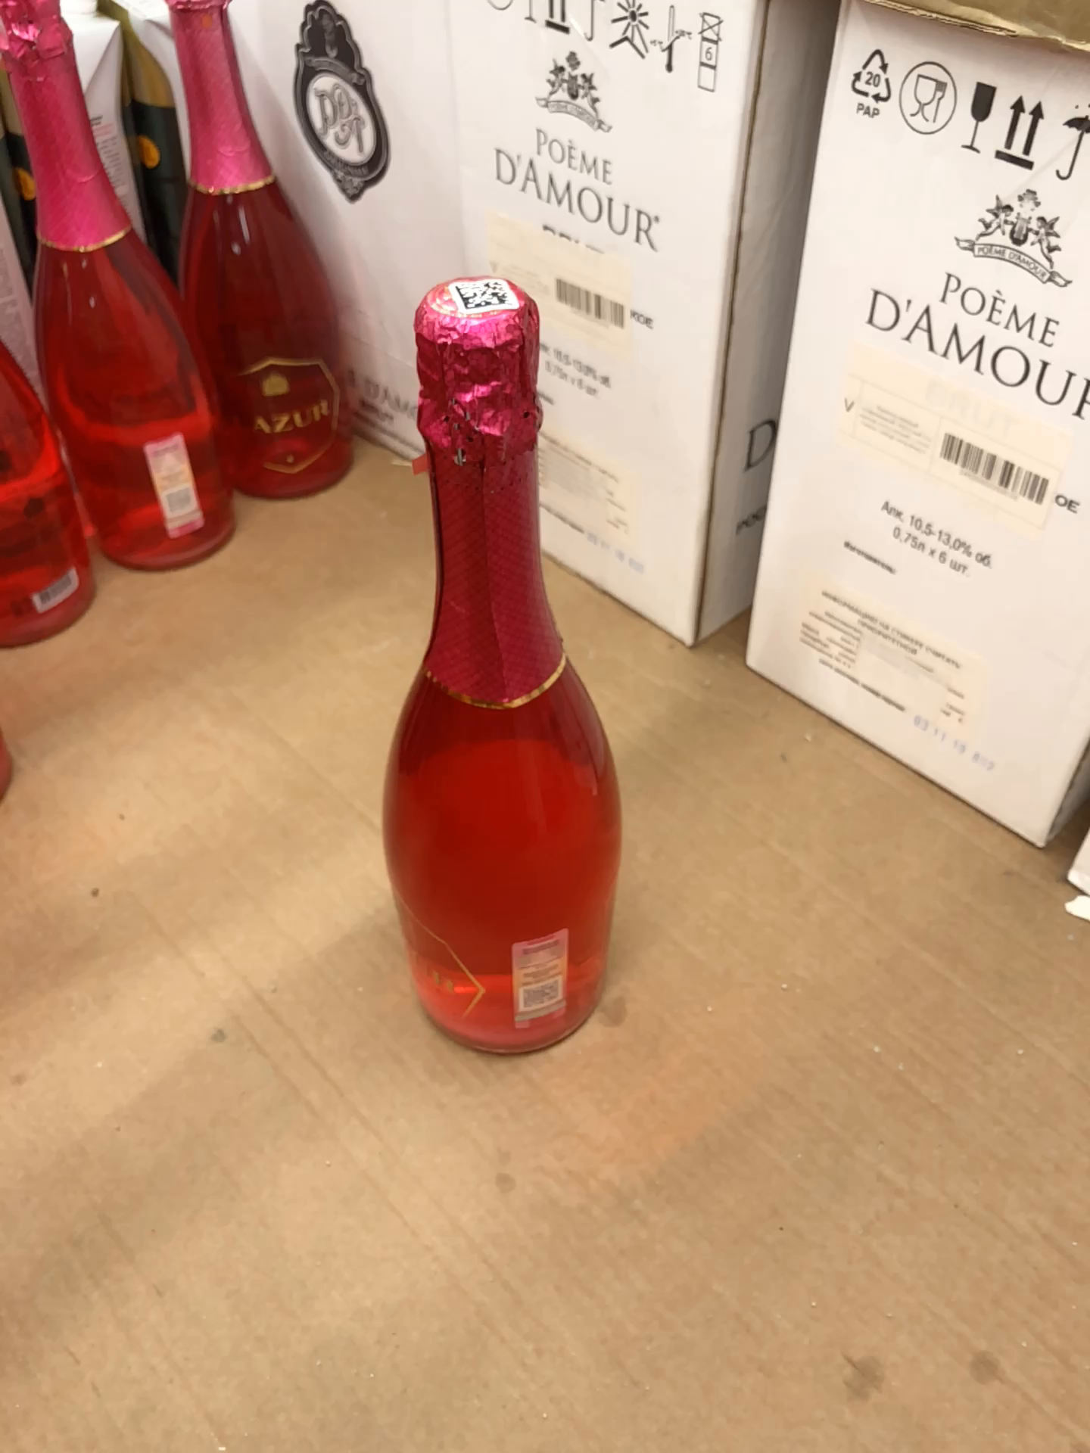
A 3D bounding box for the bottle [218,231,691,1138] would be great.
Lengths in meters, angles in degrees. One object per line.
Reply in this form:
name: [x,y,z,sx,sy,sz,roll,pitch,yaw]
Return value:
bottle: [-0.026,0.013,0.417,0.090,0.320,0.090,0,46,0]
